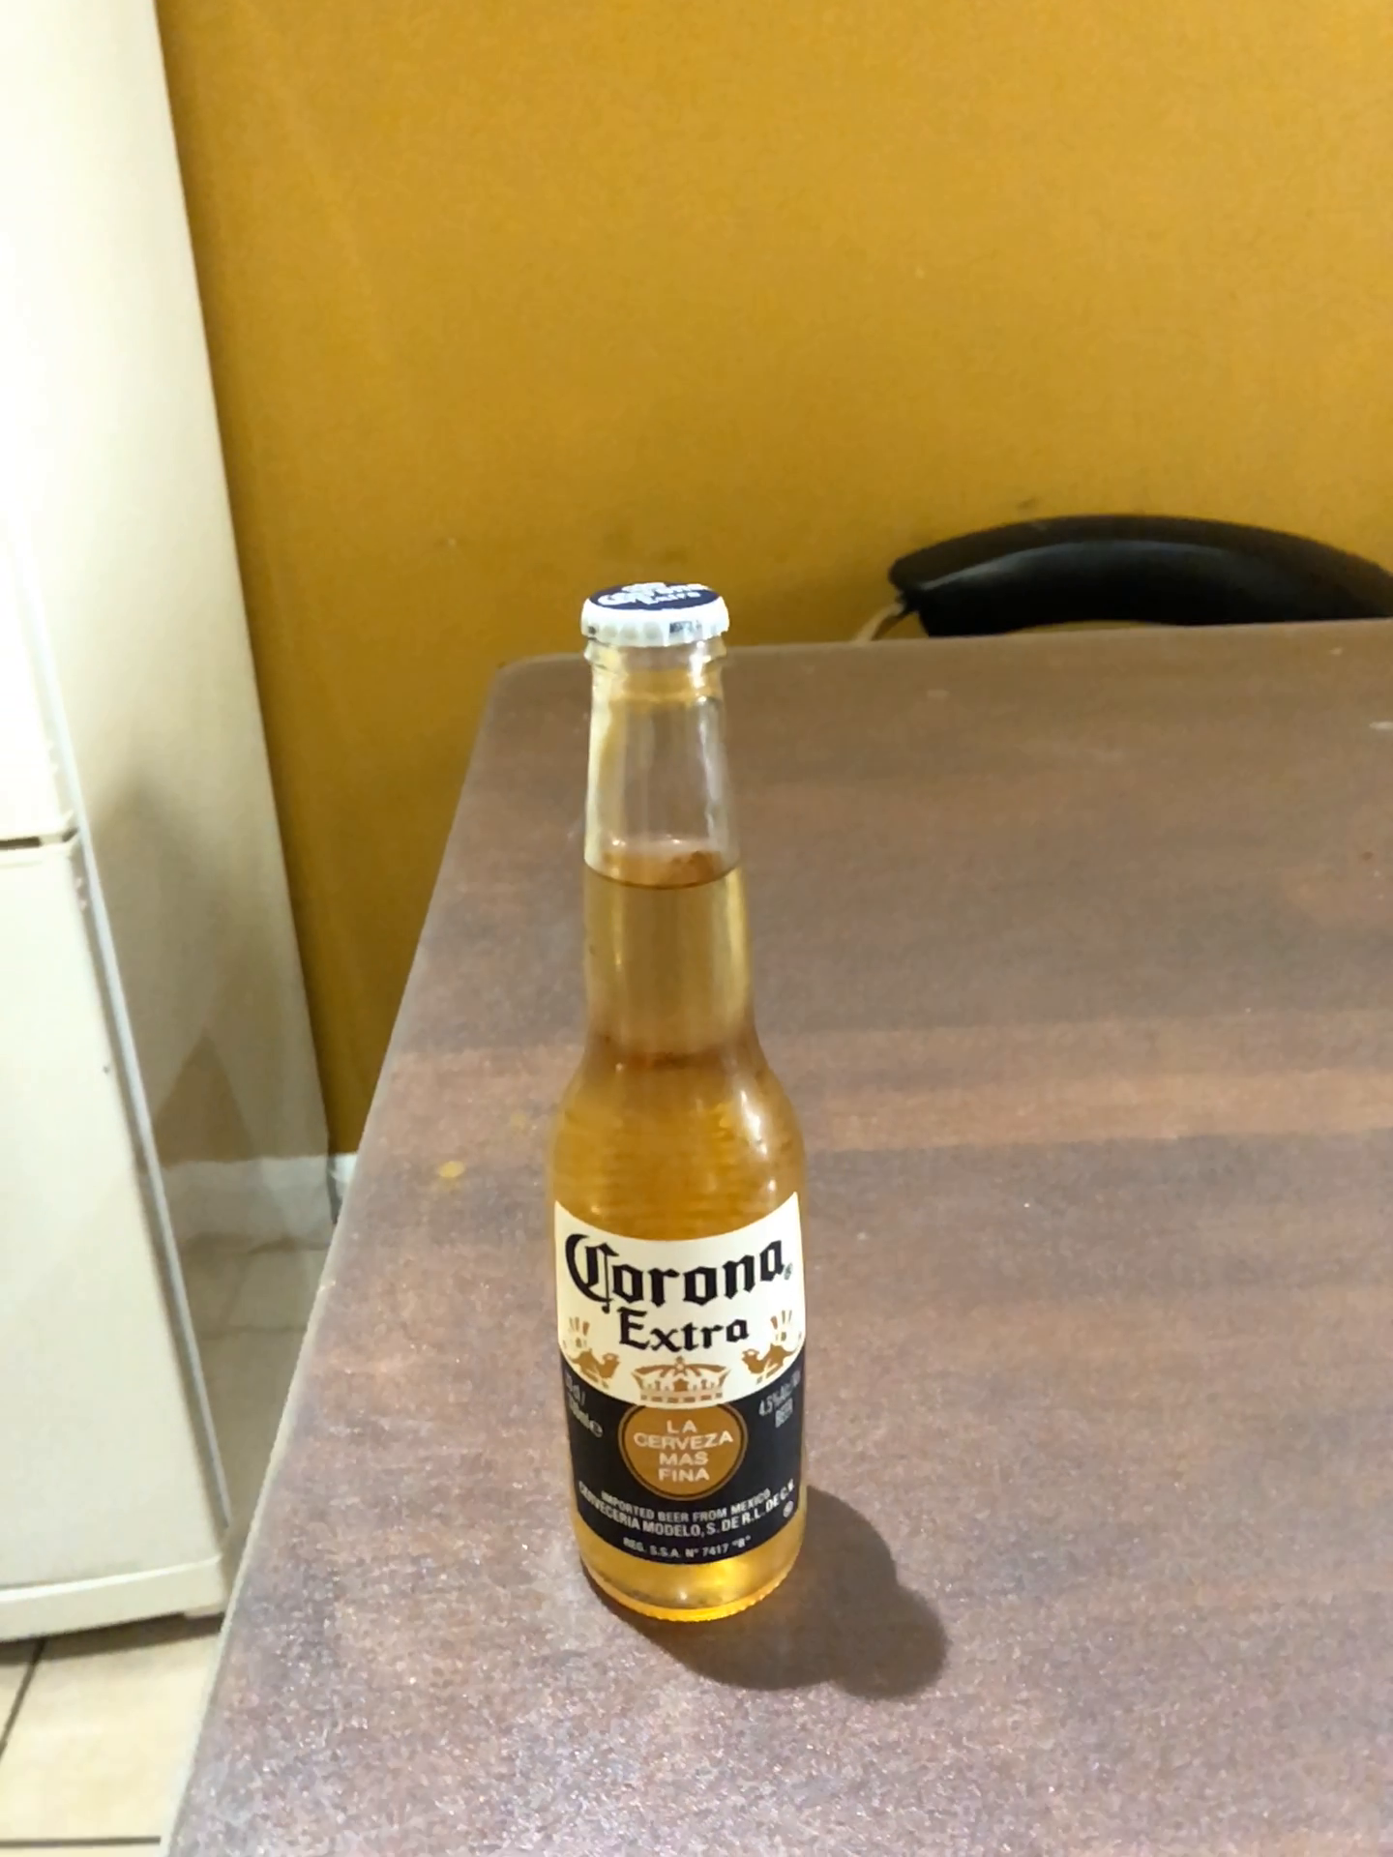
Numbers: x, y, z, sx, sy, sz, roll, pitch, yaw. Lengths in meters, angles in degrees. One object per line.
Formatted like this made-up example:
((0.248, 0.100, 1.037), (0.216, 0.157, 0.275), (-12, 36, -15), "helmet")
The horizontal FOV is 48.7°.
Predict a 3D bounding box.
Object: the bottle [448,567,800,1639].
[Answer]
((-0.009, 0.047, 0.341), (0.060, 0.238, 0.060), (-2, 25, 1), "bottle")
